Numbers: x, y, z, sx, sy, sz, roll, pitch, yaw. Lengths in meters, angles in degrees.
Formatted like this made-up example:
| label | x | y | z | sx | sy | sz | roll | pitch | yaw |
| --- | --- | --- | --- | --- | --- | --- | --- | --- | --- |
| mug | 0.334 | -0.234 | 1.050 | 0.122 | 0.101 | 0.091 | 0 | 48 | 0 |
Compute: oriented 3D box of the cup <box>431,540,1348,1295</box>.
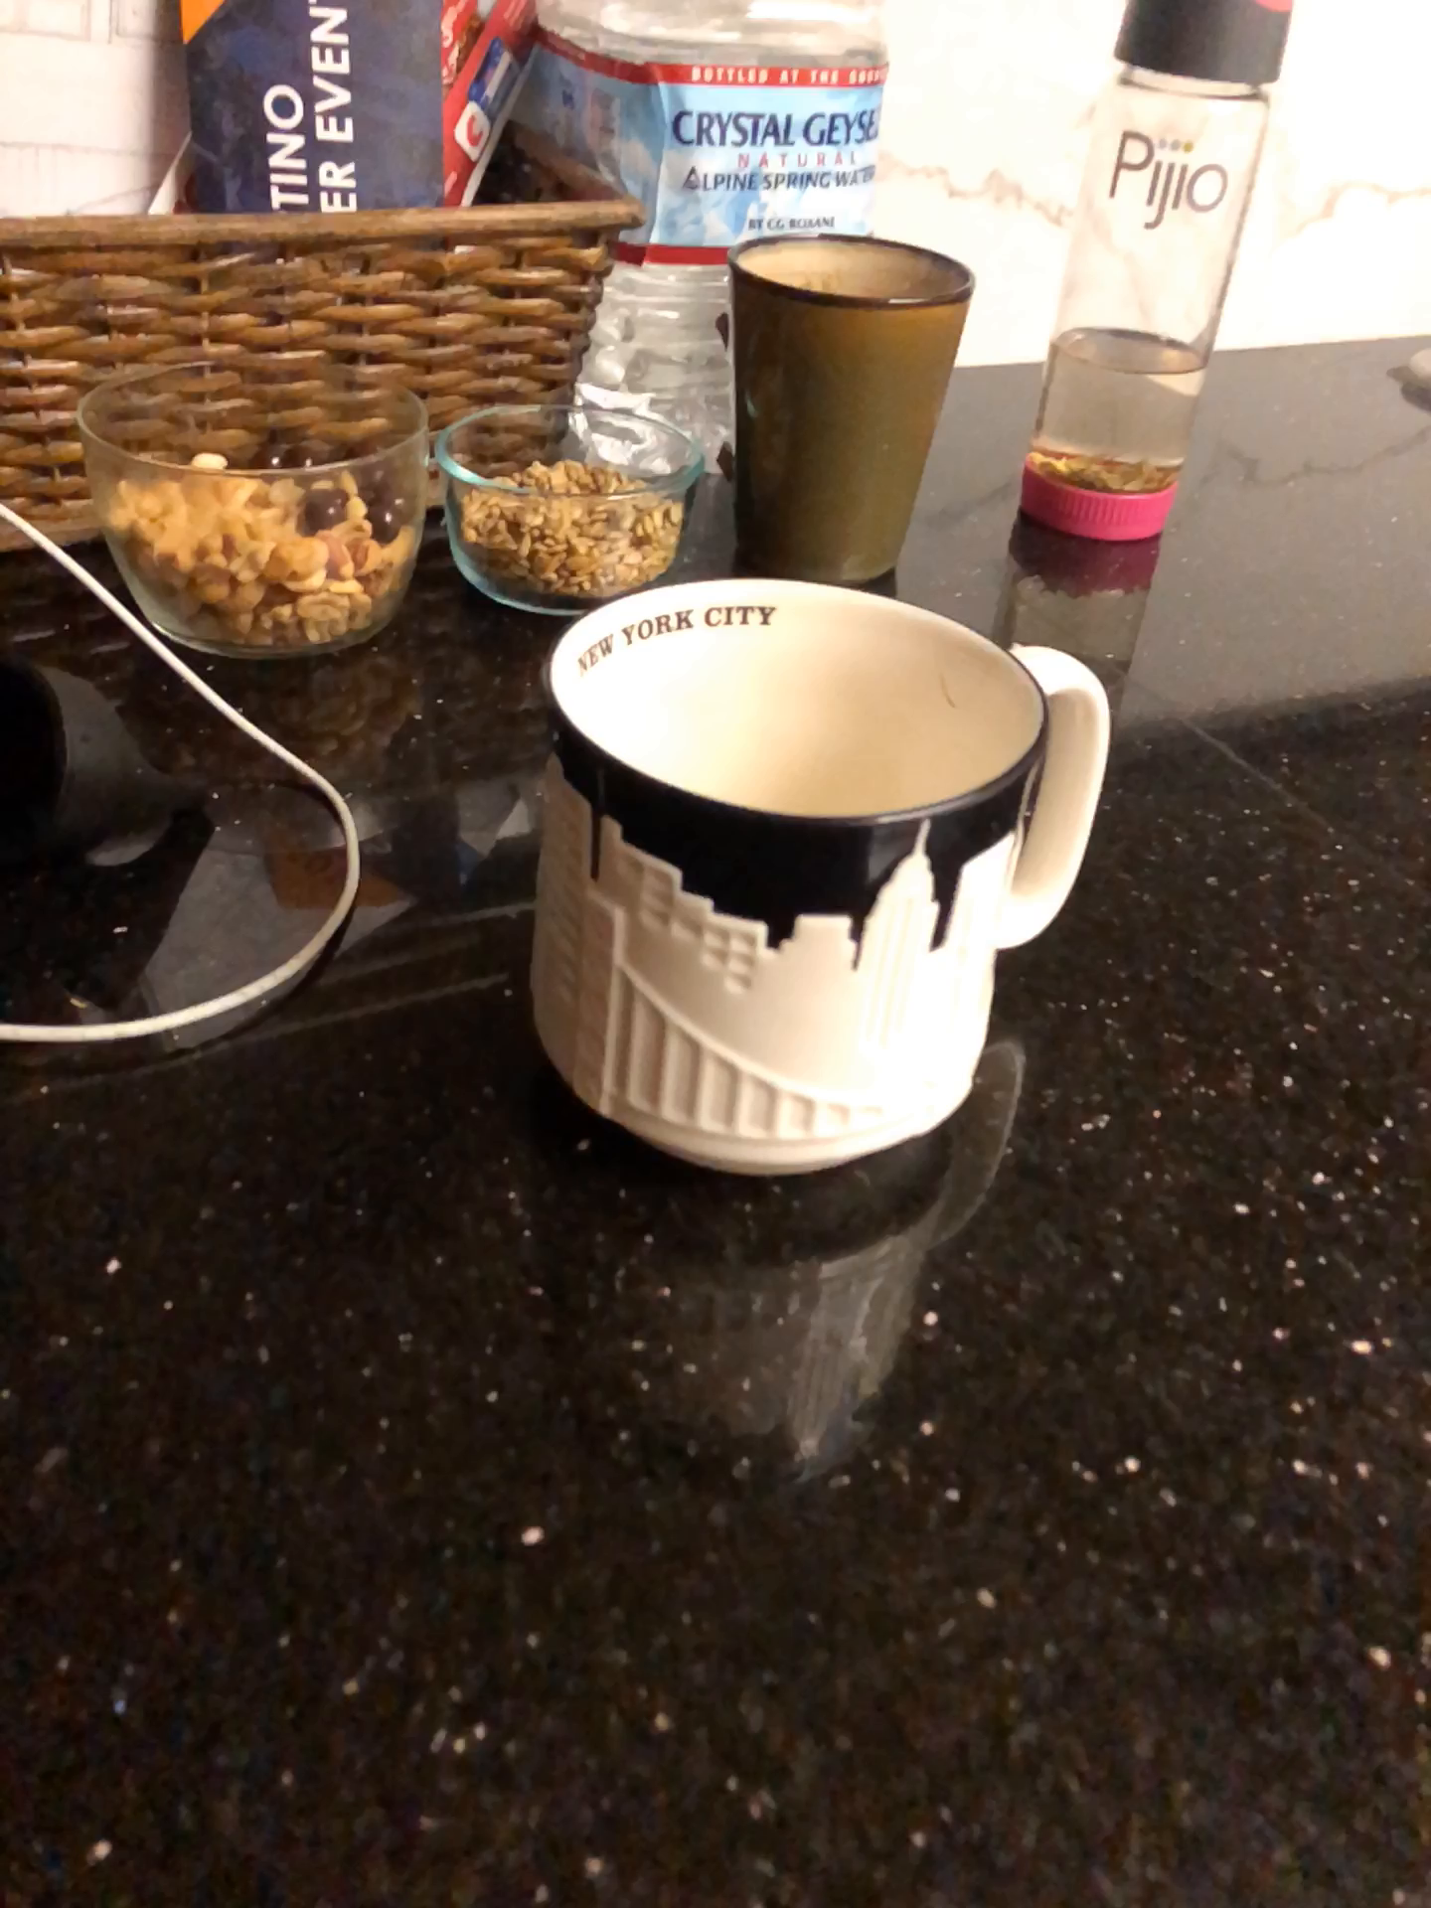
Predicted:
| label | x | y | z | sx | sy | sz | roll | pitch | yaw |
| --- | --- | --- | --- | --- | --- | --- | --- | --- | --- |
| cup | 0.029 | -0.019 | 0.351 | 0.150 | 0.089 | 0.120 | -13 | 40 | -24 |
